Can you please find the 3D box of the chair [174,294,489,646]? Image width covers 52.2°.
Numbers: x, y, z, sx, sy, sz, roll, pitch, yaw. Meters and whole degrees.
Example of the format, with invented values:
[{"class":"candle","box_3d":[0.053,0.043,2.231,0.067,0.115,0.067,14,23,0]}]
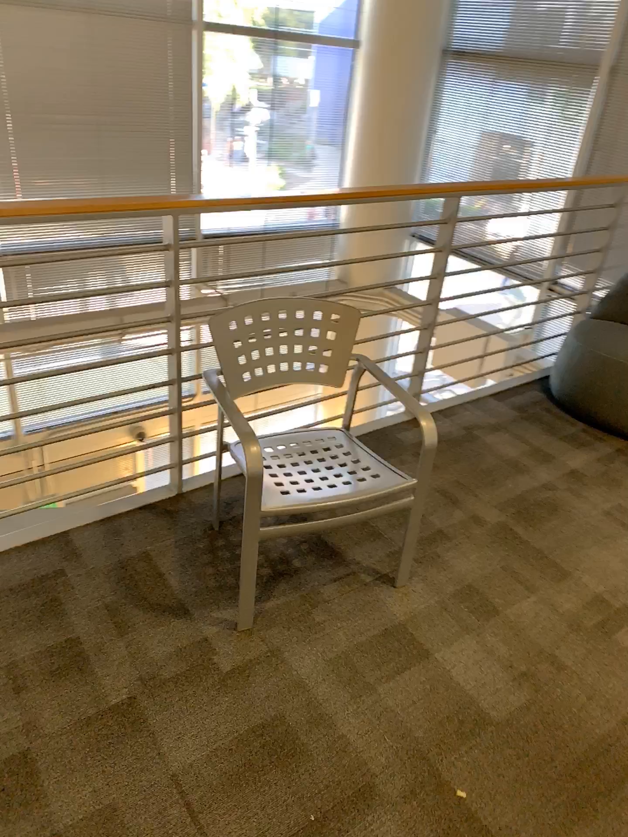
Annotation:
[{"class":"chair","box_3d":[-0.013,0.107,2.052,0.680,0.756,0.684,-10,34,-26]}]
